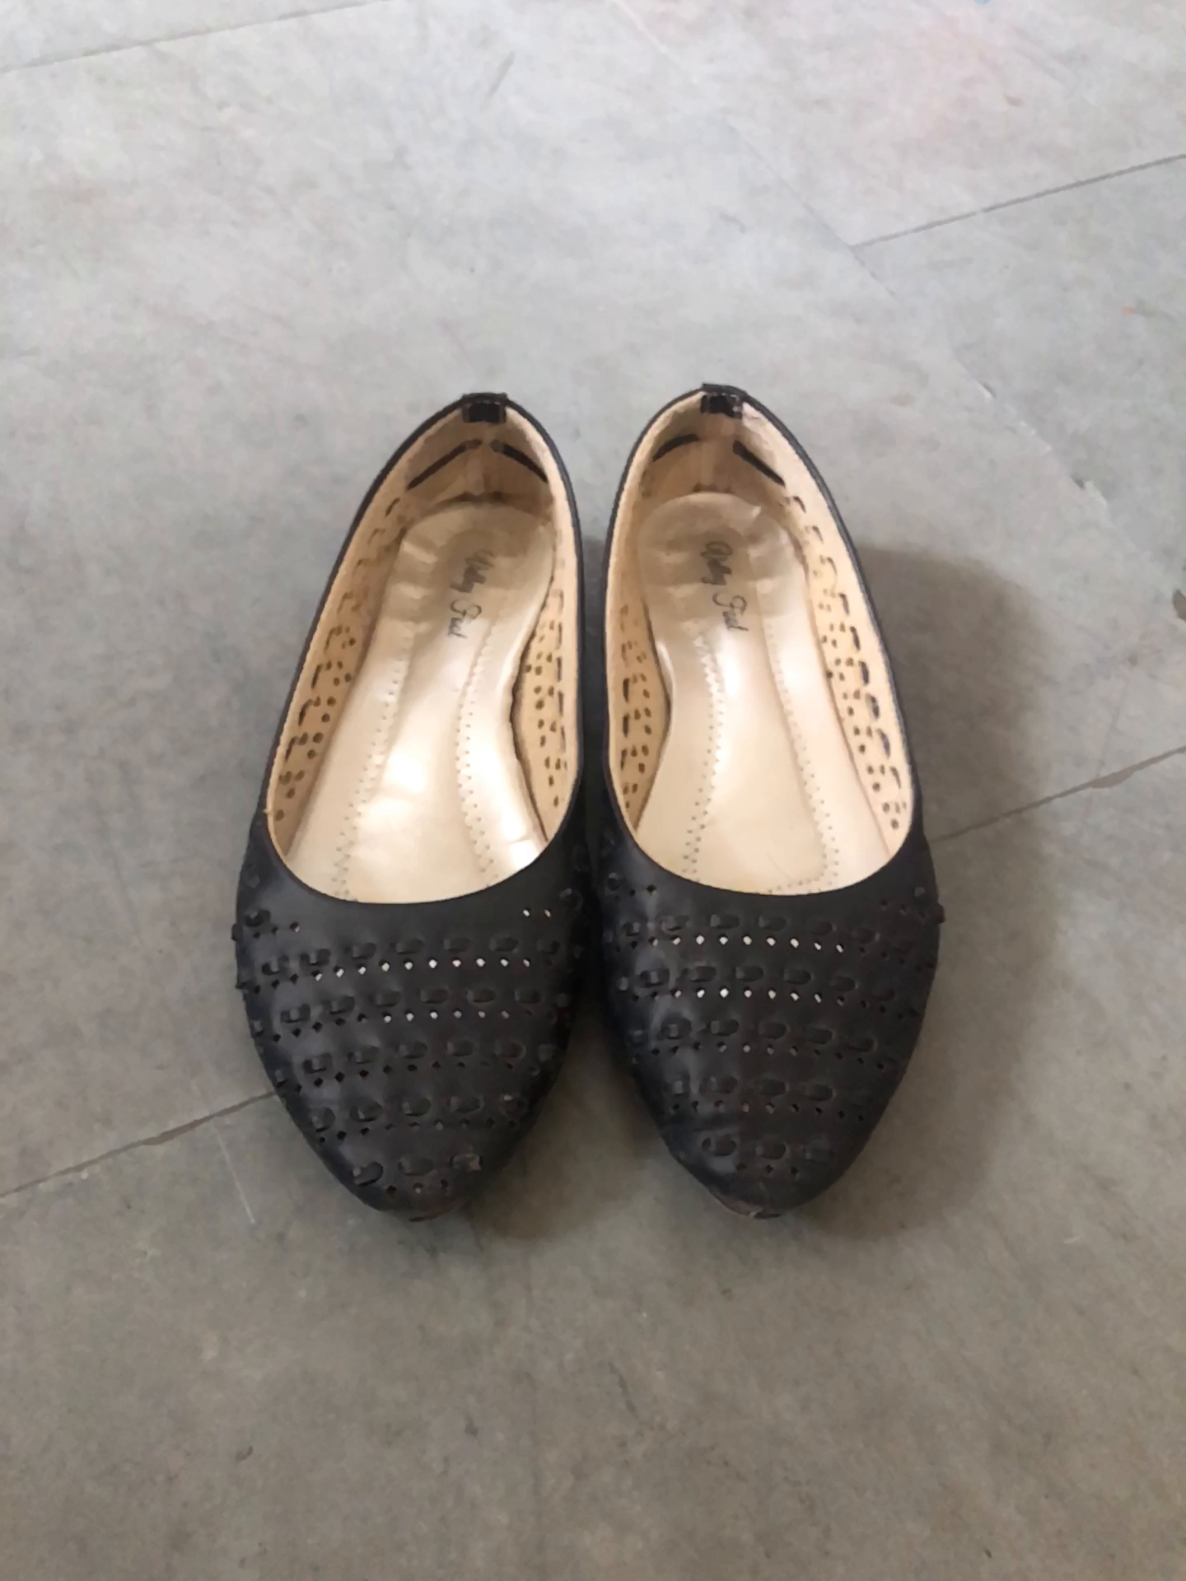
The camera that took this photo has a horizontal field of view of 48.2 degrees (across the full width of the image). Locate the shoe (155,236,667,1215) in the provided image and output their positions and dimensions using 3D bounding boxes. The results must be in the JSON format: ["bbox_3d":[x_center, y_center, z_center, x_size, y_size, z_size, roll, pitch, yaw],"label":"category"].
[{"bbox_3d":[-0.034,-0.032,0.359,0.100,0.070,0.271,1,59,1],"label":"shoe"}]

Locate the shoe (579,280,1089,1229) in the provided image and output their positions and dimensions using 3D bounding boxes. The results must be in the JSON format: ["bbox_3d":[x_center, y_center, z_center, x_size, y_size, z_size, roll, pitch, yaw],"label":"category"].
[{"bbox_3d":[0.049,-0.030,0.372,0.100,0.070,0.281,1,54,1],"label":"shoe"}]
